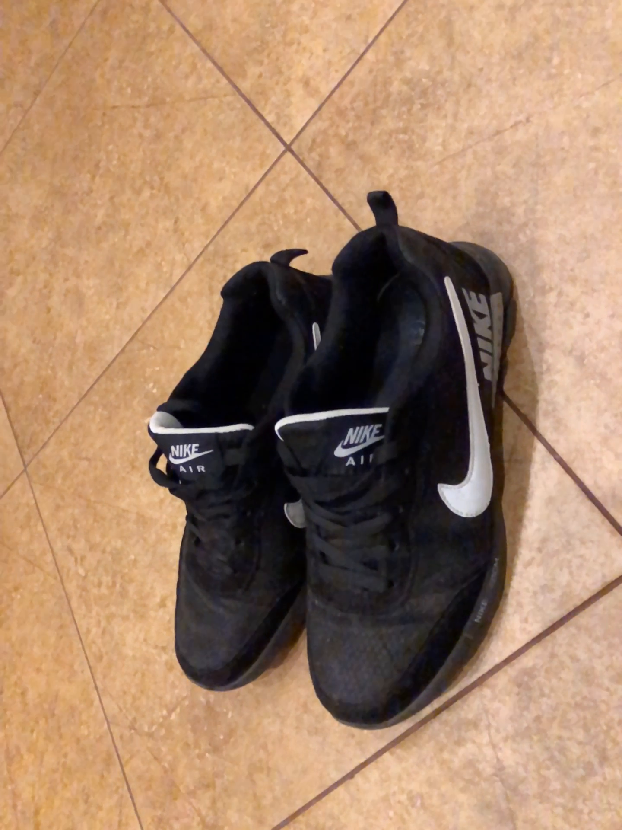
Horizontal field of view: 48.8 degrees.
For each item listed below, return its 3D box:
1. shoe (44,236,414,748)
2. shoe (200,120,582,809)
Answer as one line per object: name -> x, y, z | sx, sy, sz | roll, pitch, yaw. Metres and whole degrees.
shoe -> -0.048, 0.041, 0.436 | 0.110, 0.119, 0.270 | 16, 88, 38
shoe -> 0.052, 0.020, 0.378 | 0.120, 0.119, 0.300 | 5, 82, 37
